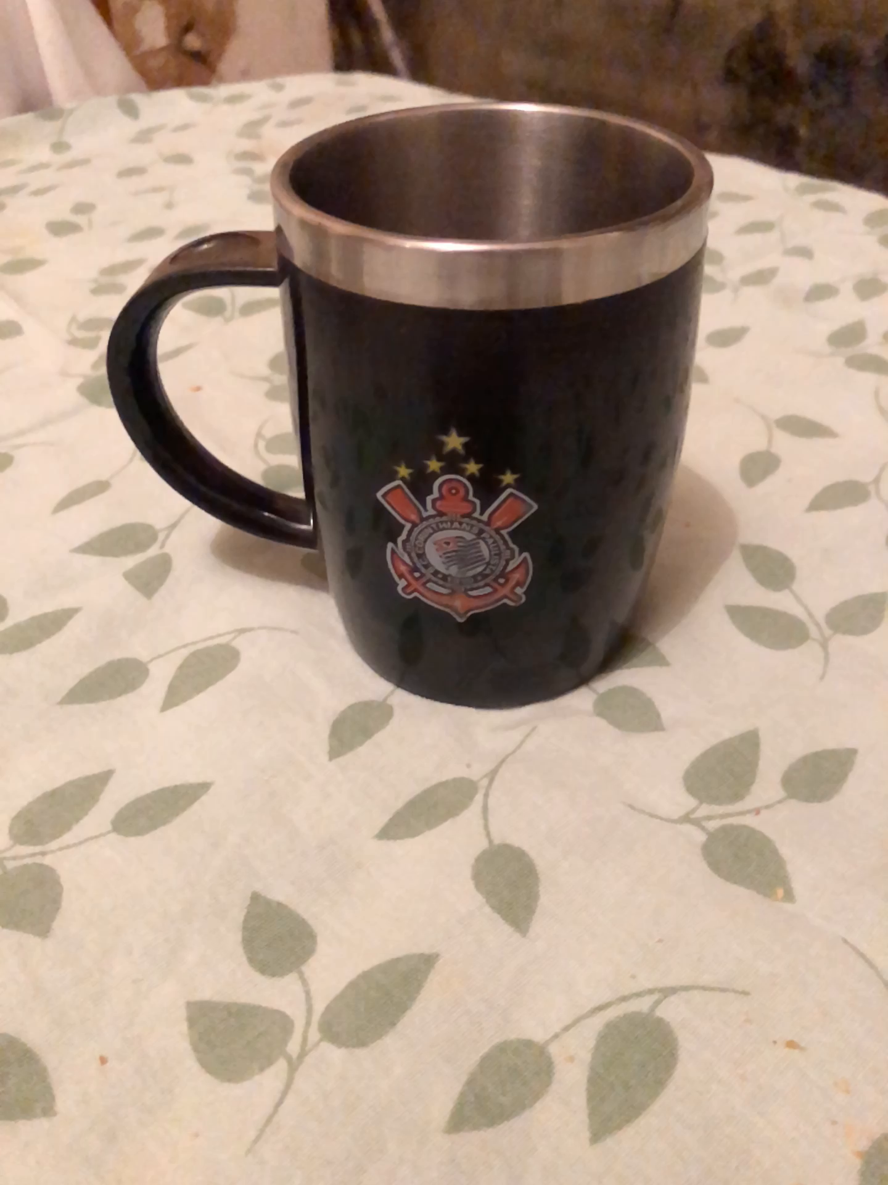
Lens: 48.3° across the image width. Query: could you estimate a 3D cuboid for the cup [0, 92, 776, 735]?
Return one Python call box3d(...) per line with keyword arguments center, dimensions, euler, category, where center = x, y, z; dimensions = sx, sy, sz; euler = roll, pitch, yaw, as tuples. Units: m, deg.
box3d(center=(-0.009, -0.041, 0.236), dimensions=(0.130, 0.119, 0.091), euler=(-1, 40, 2), category="cup")
